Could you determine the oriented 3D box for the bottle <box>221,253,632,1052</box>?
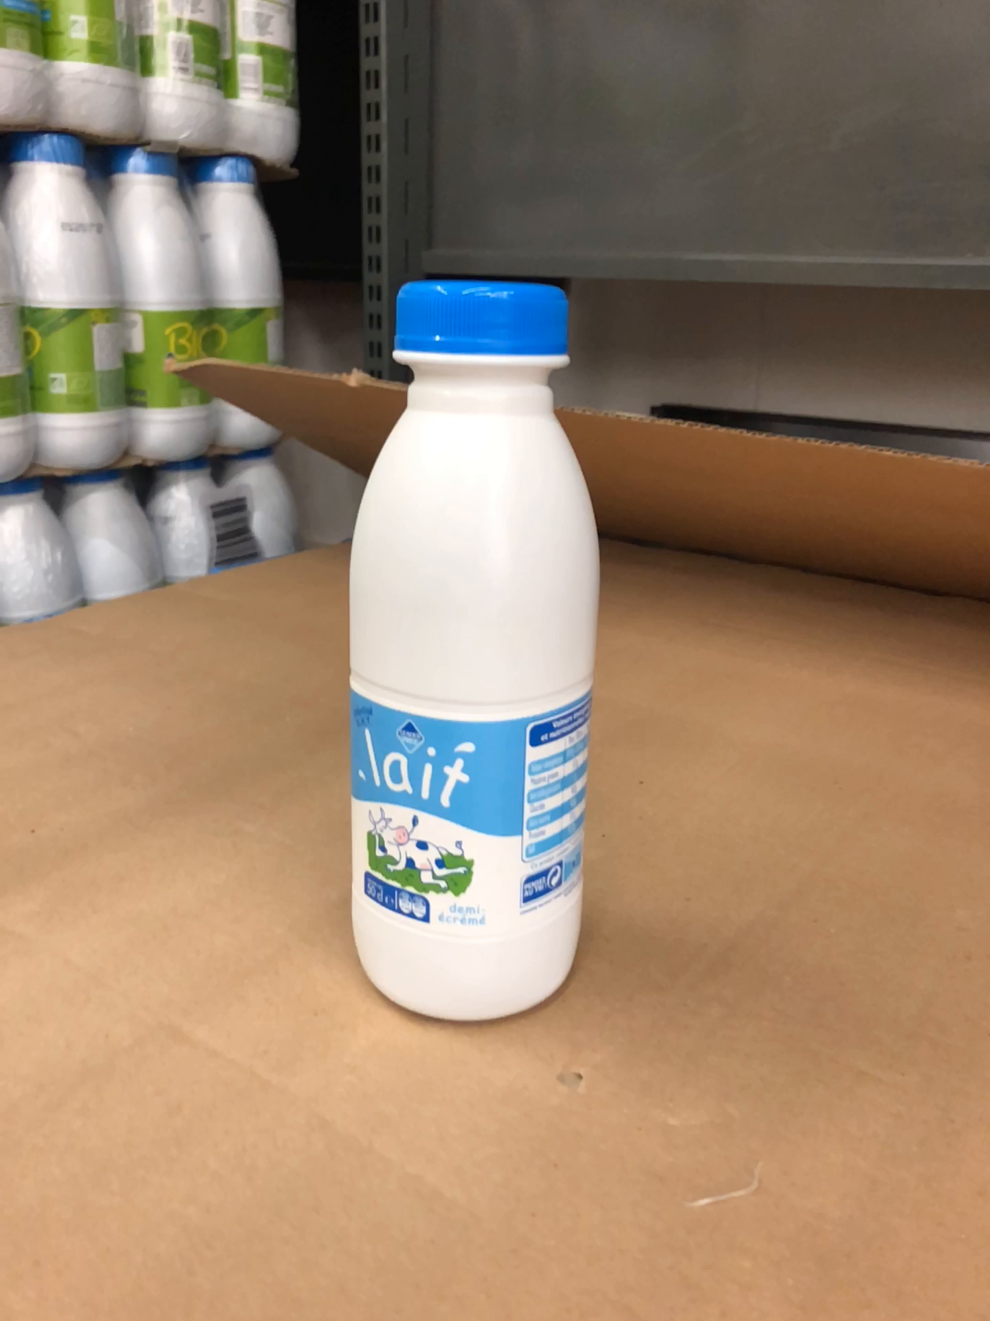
[{"bbox_3d":[-0.017,-0.007,0.293,0.070,0.189,0.070,1,19,0],"label":"bottle"}]
